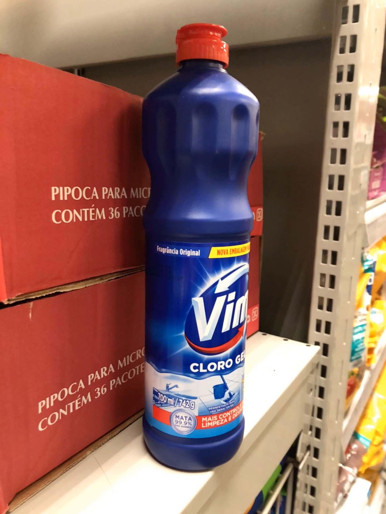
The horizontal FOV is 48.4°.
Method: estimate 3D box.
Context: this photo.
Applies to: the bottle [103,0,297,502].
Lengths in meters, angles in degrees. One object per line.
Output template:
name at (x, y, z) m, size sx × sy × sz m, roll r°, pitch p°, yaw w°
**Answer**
bottle at (0.001, -0.003, 0.228) m, size 0.070 × 0.229 × 0.060 m, roll -10°, pitch 17°, yaw -40°
